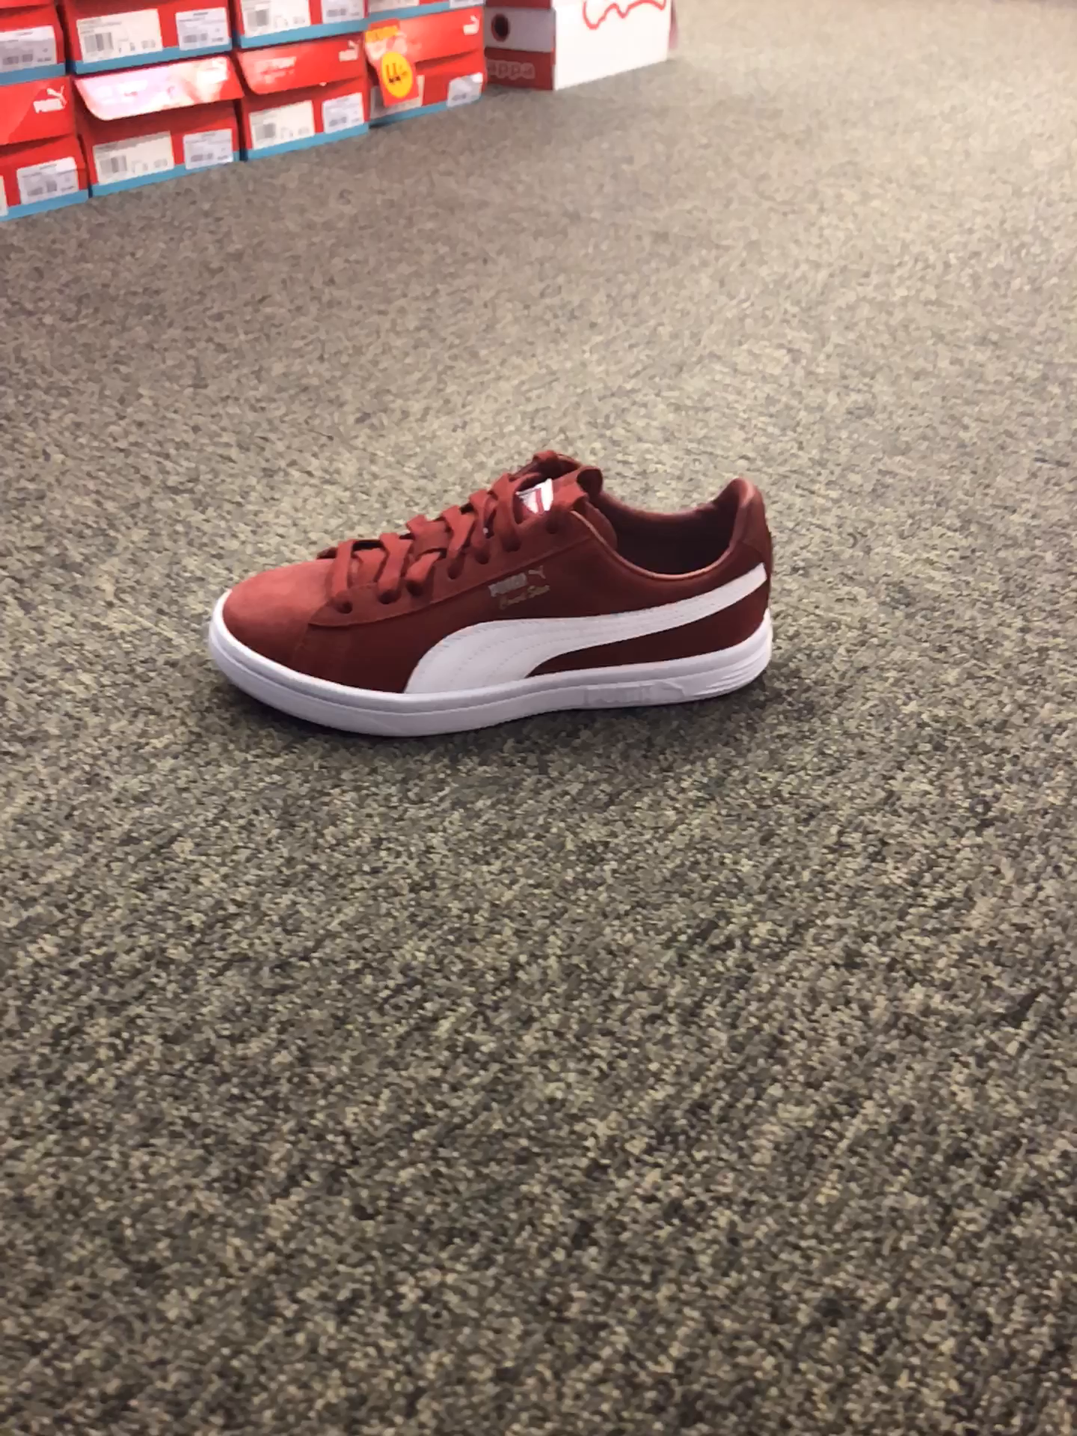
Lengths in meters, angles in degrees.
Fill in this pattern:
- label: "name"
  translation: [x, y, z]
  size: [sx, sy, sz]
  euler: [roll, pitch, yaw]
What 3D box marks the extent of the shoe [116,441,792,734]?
- label: "shoe"
  translation: [-0.031, -0.057, 0.502]
  size: [0.250, 0.080, 0.101]
  euler: [-1, 37, 1]
